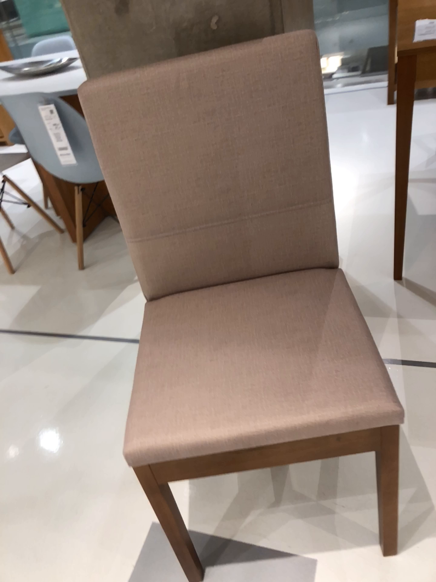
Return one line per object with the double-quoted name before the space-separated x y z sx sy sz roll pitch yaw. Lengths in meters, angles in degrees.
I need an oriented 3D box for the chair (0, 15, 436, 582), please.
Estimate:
"chair" 0.039 0.075 0.954 0.560 0.933 0.544 -10 36 5
